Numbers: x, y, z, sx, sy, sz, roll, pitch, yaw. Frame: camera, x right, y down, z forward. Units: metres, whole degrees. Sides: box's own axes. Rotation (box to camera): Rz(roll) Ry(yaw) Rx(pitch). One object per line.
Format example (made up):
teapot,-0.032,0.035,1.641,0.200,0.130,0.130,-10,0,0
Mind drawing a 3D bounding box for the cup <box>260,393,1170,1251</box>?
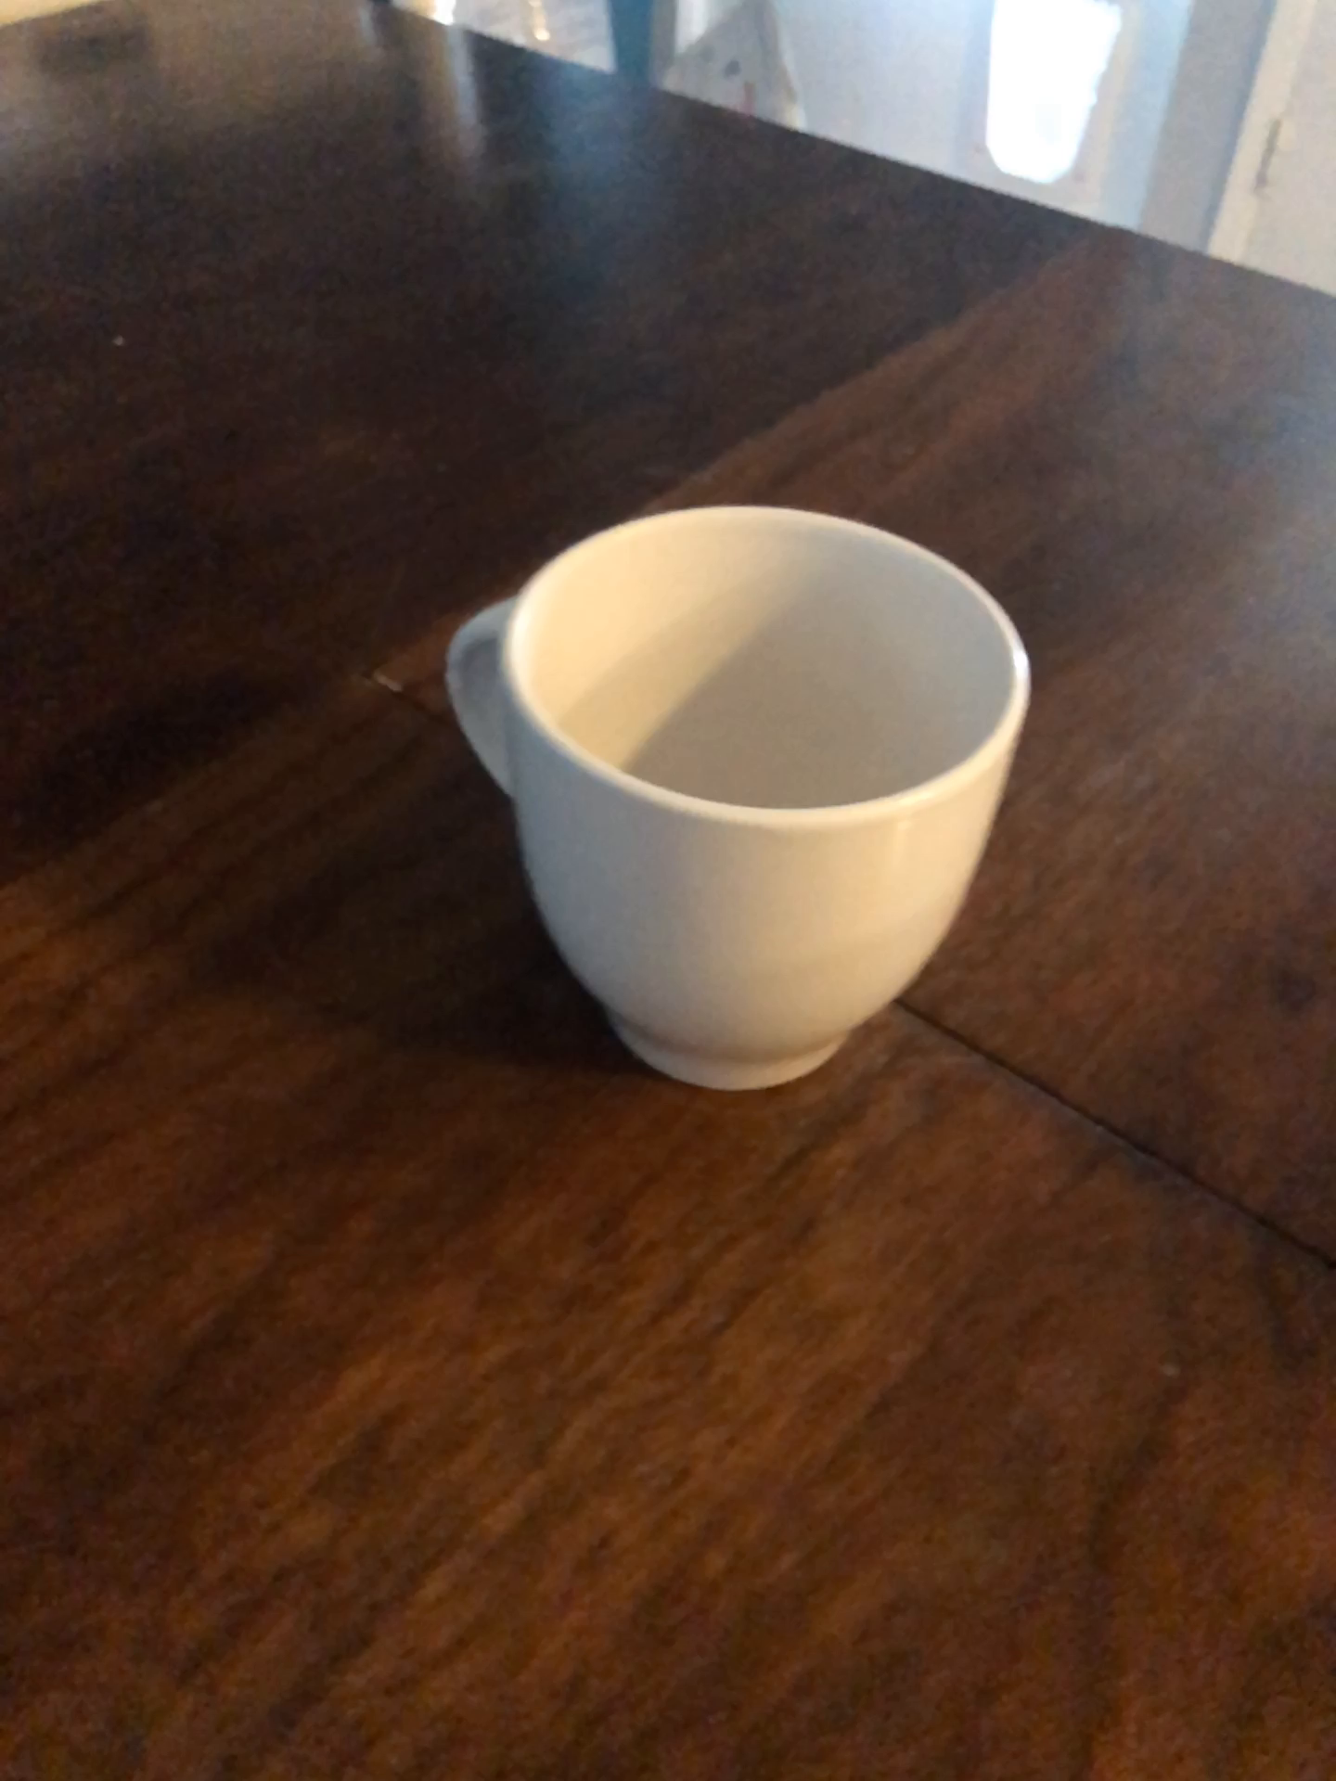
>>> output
cup,0.008,-0.024,0.340,0.150,0.100,0.110,30,51,25
